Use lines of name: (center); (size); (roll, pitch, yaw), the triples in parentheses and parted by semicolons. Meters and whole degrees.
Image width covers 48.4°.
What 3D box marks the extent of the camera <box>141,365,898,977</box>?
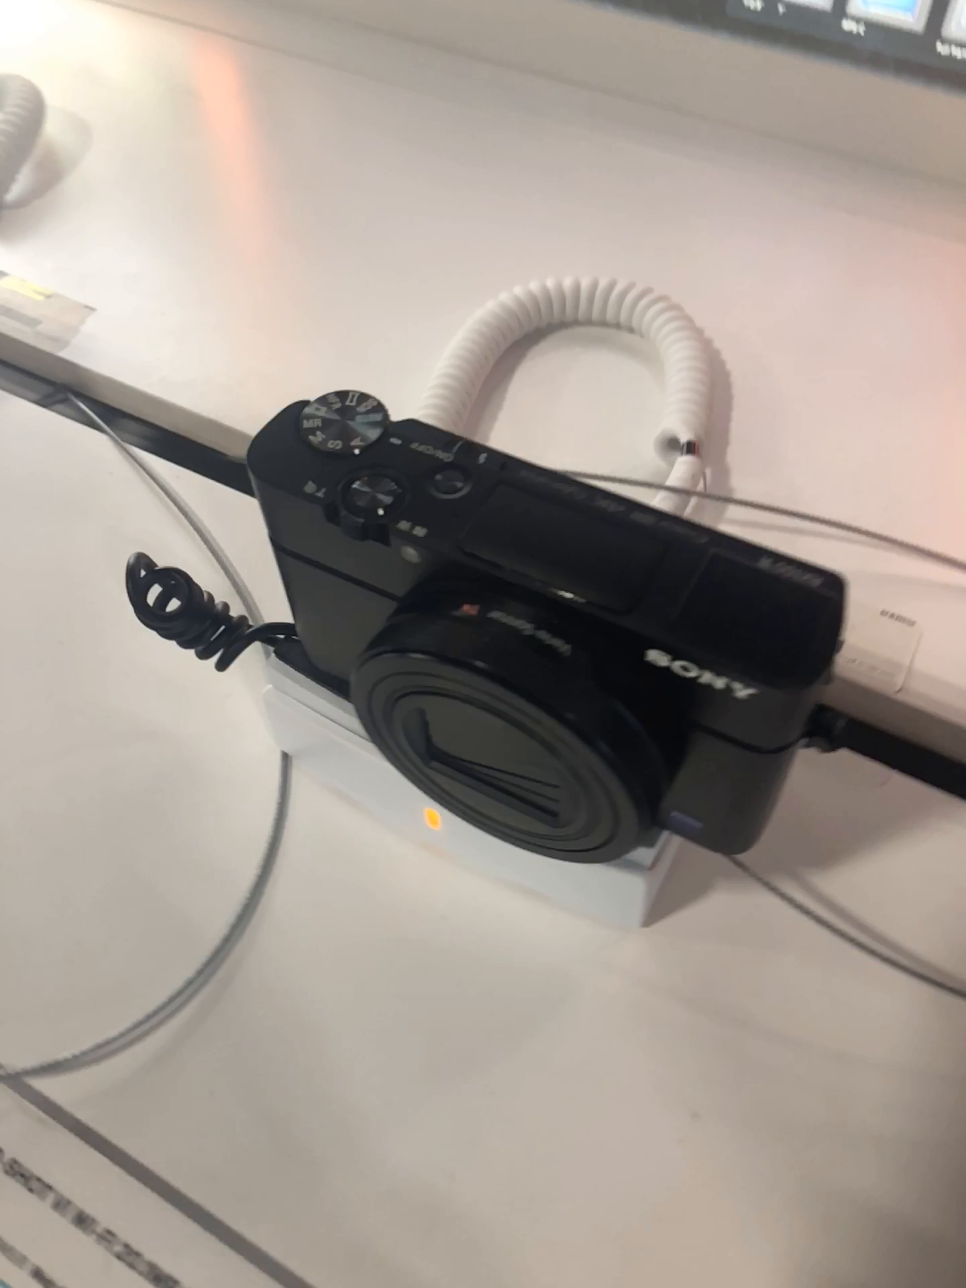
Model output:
camera: (0.004, 0.004, 0.186); (0.109, 0.060, 0.040); (23, 55, 17)
